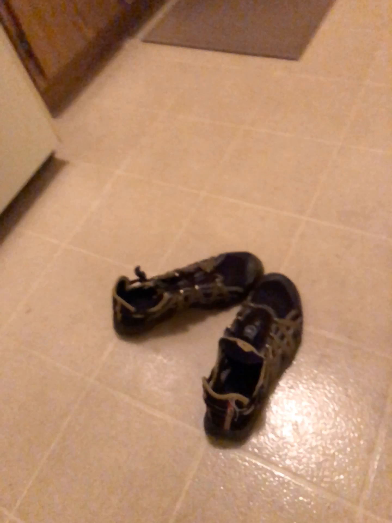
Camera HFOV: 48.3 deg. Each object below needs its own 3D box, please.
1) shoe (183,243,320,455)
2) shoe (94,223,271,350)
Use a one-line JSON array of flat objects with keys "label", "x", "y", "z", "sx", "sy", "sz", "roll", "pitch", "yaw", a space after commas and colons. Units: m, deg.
[{"label": "shoe", "x": 0.099, "y": 0.127, "z": 0.687, "sx": 0.109, "sy": 0.111, "sz": 0.287, "roll": 15, "pitch": 60, "yaw": 21}, {"label": "shoe", "x": -0.021, "y": 0.045, "z": 0.769, "sx": 0.279, "sy": 0.109, "sz": 0.100, "roll": -18, "pitch": 54, "yaw": -1}]
